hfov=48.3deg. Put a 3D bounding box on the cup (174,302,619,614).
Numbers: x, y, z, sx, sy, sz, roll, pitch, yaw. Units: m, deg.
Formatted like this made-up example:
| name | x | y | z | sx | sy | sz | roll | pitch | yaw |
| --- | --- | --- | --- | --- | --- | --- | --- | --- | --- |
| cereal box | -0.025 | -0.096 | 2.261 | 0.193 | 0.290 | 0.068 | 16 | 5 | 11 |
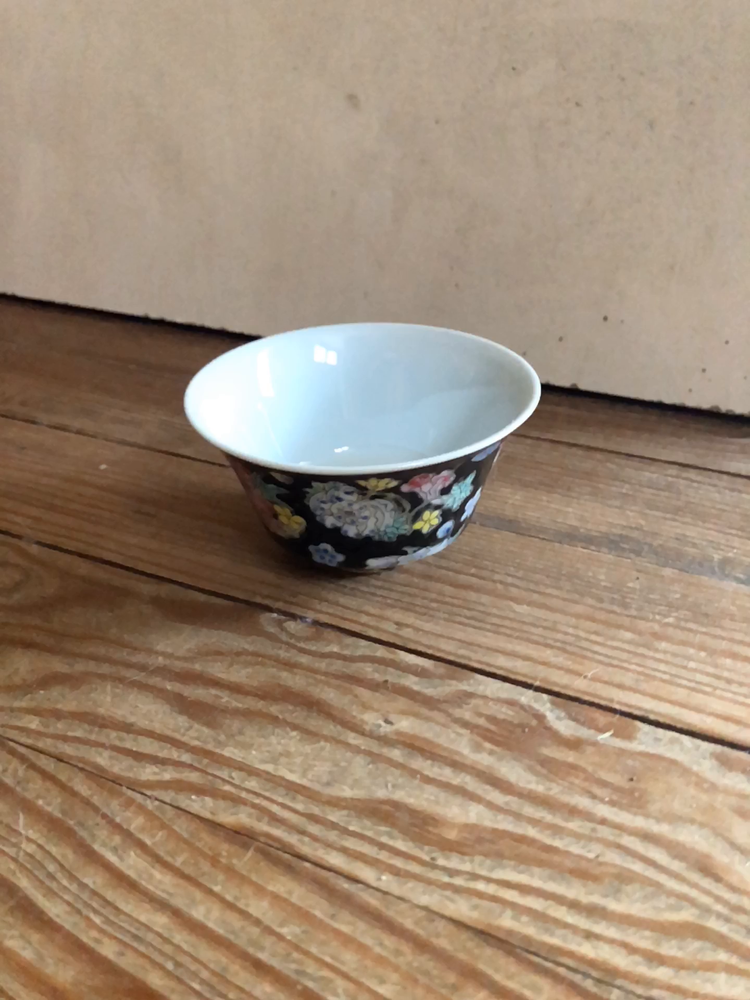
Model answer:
| name | x | y | z | sx | sy | sz | roll | pitch | yaw |
| --- | --- | --- | --- | --- | --- | --- | --- | --- | --- |
| cup | -0.002 | -0.021 | 0.258 | 0.110 | 0.040 | 0.100 | 0 | 33 | 0 |
